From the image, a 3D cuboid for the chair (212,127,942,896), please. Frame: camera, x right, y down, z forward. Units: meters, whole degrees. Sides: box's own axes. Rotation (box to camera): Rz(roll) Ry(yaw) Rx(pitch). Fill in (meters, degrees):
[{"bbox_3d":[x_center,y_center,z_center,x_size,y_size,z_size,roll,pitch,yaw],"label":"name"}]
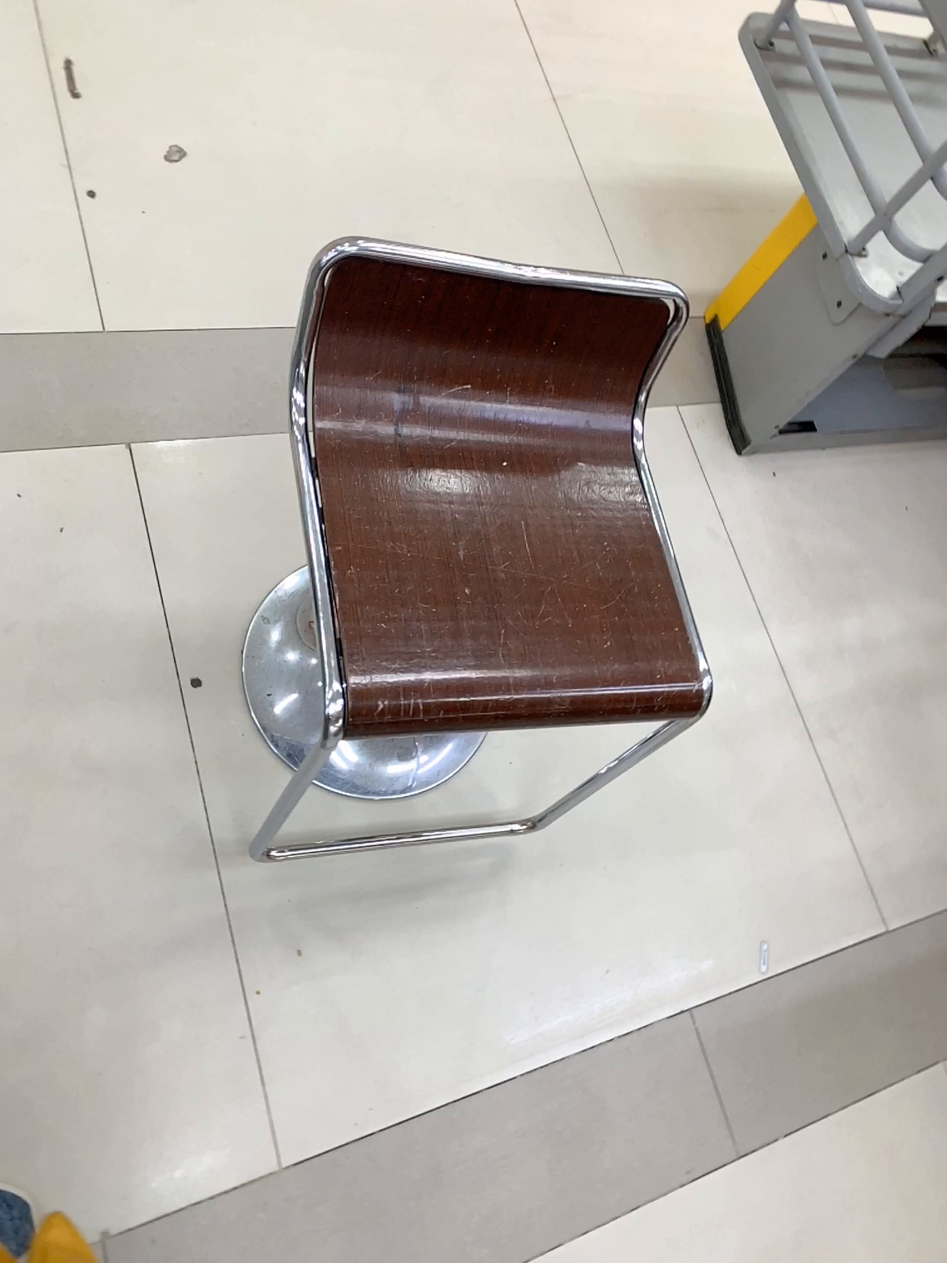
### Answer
[{"bbox_3d":[-0.005,-0.034,1.036,0.441,0.707,0.481,-1,69,-22],"label":"chair"}]
